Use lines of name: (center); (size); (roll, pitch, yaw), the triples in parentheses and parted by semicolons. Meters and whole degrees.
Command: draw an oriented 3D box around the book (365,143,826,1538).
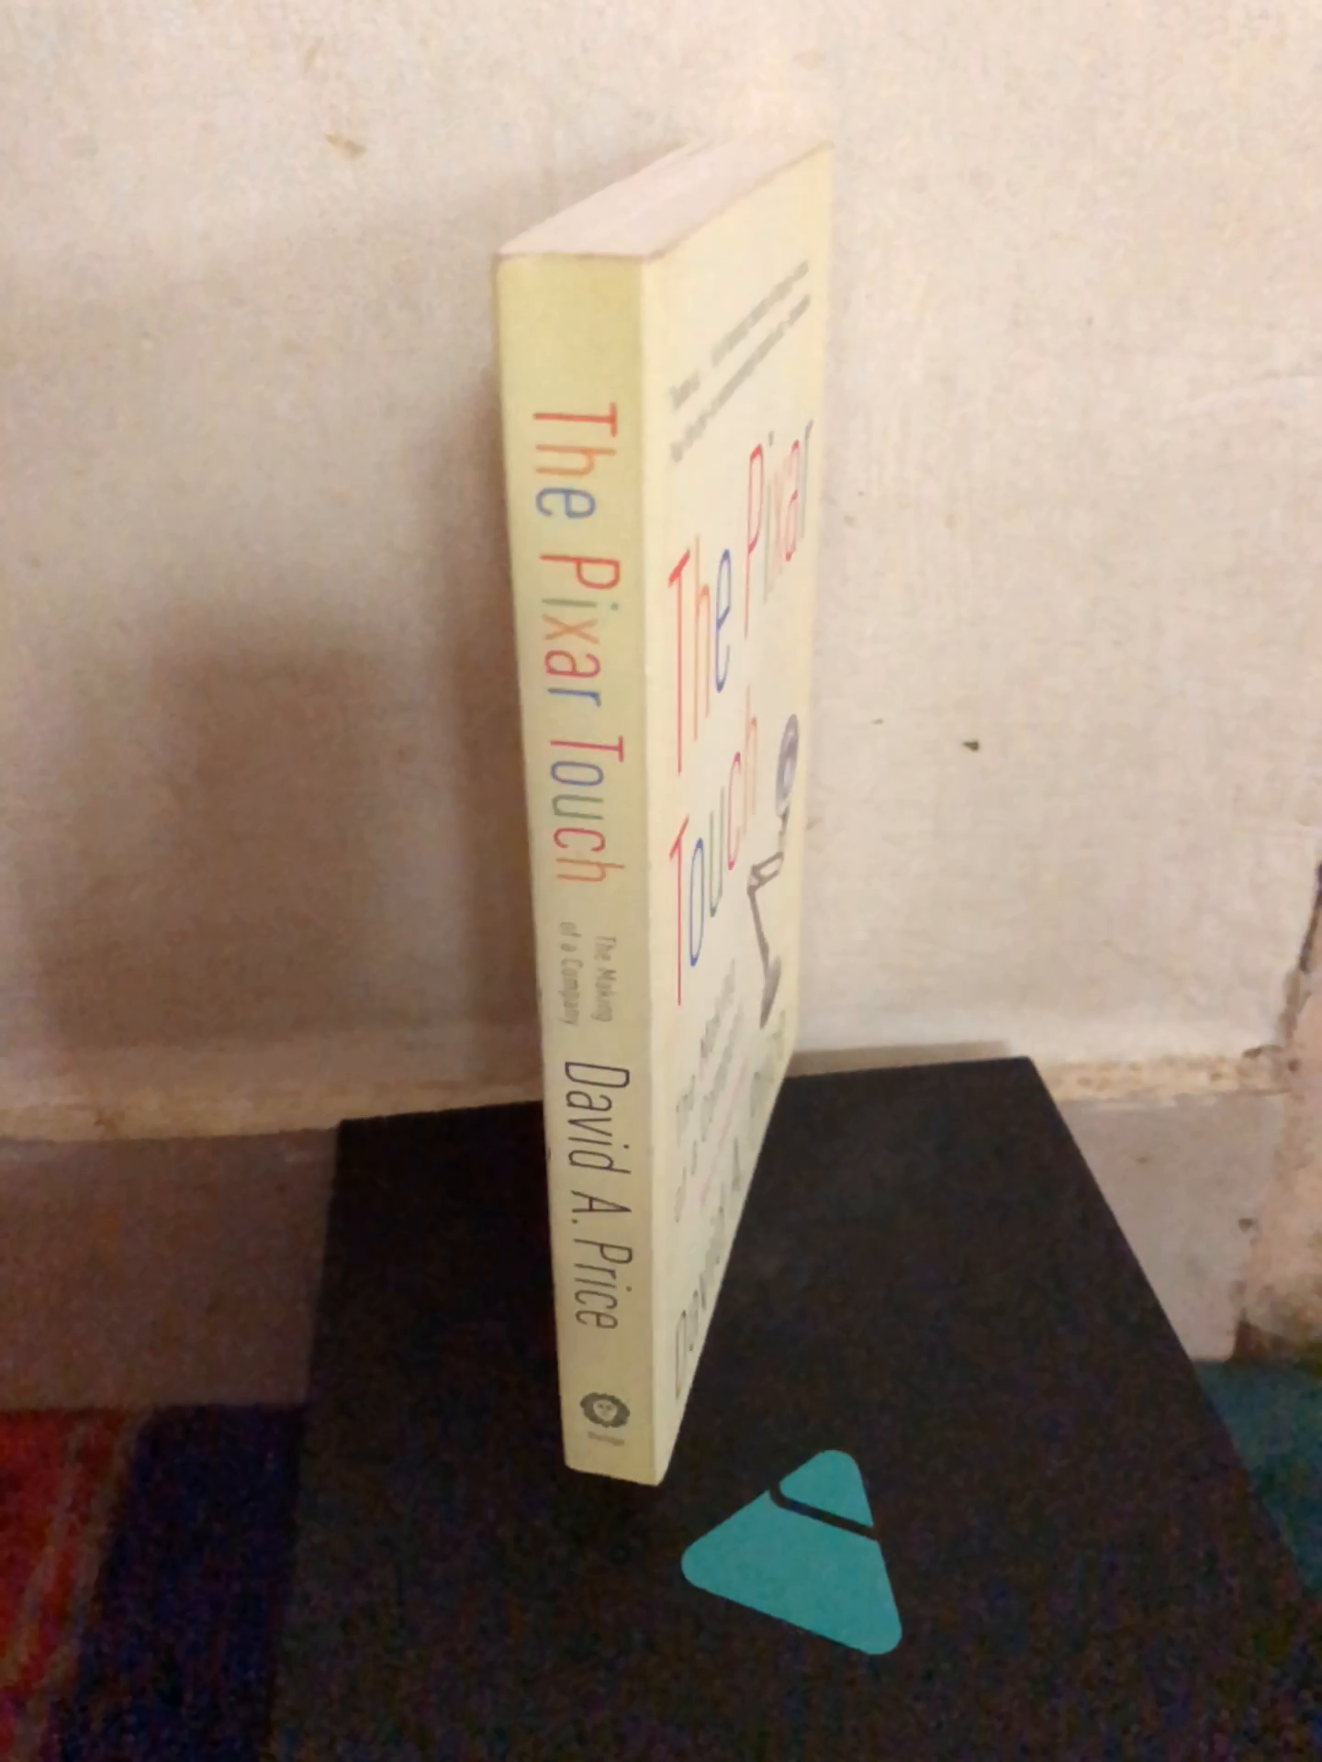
book: (-0.001, -0.013, 0.259); (0.030, 0.199, 0.141); (7, 31, 11)
